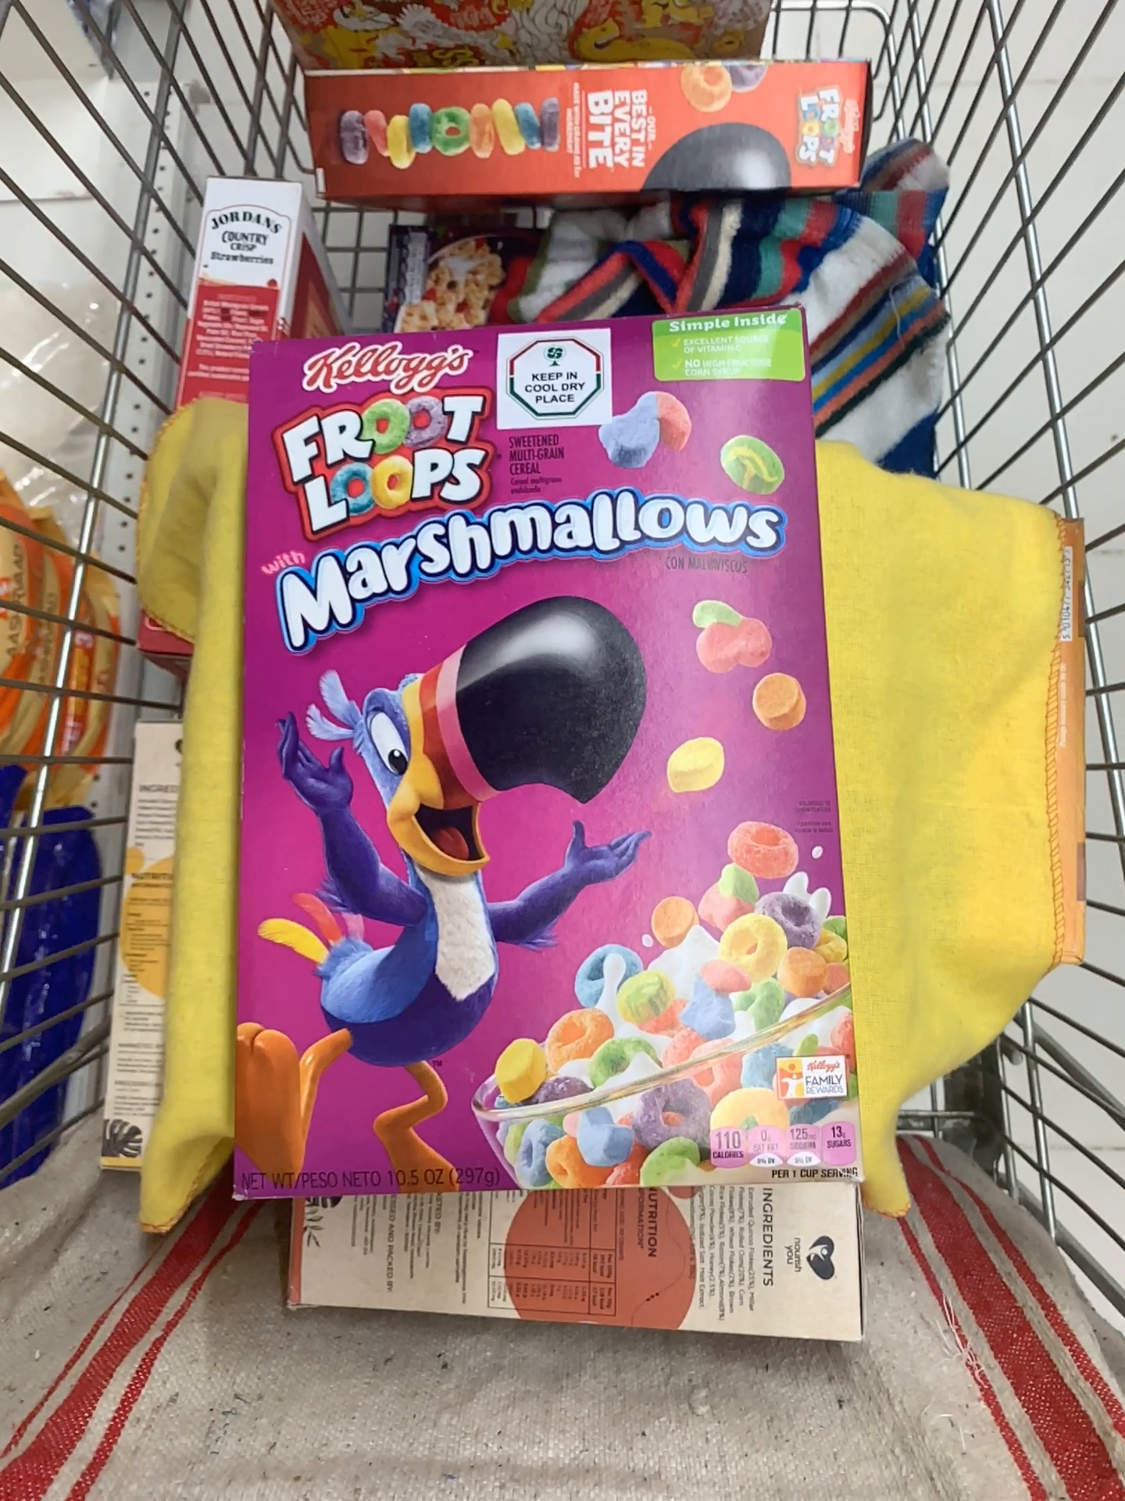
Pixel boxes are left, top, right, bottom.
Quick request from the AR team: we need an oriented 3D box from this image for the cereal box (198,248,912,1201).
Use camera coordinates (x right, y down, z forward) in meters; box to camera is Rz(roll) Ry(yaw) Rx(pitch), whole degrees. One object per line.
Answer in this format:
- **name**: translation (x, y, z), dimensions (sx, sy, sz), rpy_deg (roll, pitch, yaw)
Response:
- **cereal box**: translation (-0.005, -0.009, 0.365), dimensions (0.190, 0.070, 0.270), rpy_deg (-2, 80, 3)
